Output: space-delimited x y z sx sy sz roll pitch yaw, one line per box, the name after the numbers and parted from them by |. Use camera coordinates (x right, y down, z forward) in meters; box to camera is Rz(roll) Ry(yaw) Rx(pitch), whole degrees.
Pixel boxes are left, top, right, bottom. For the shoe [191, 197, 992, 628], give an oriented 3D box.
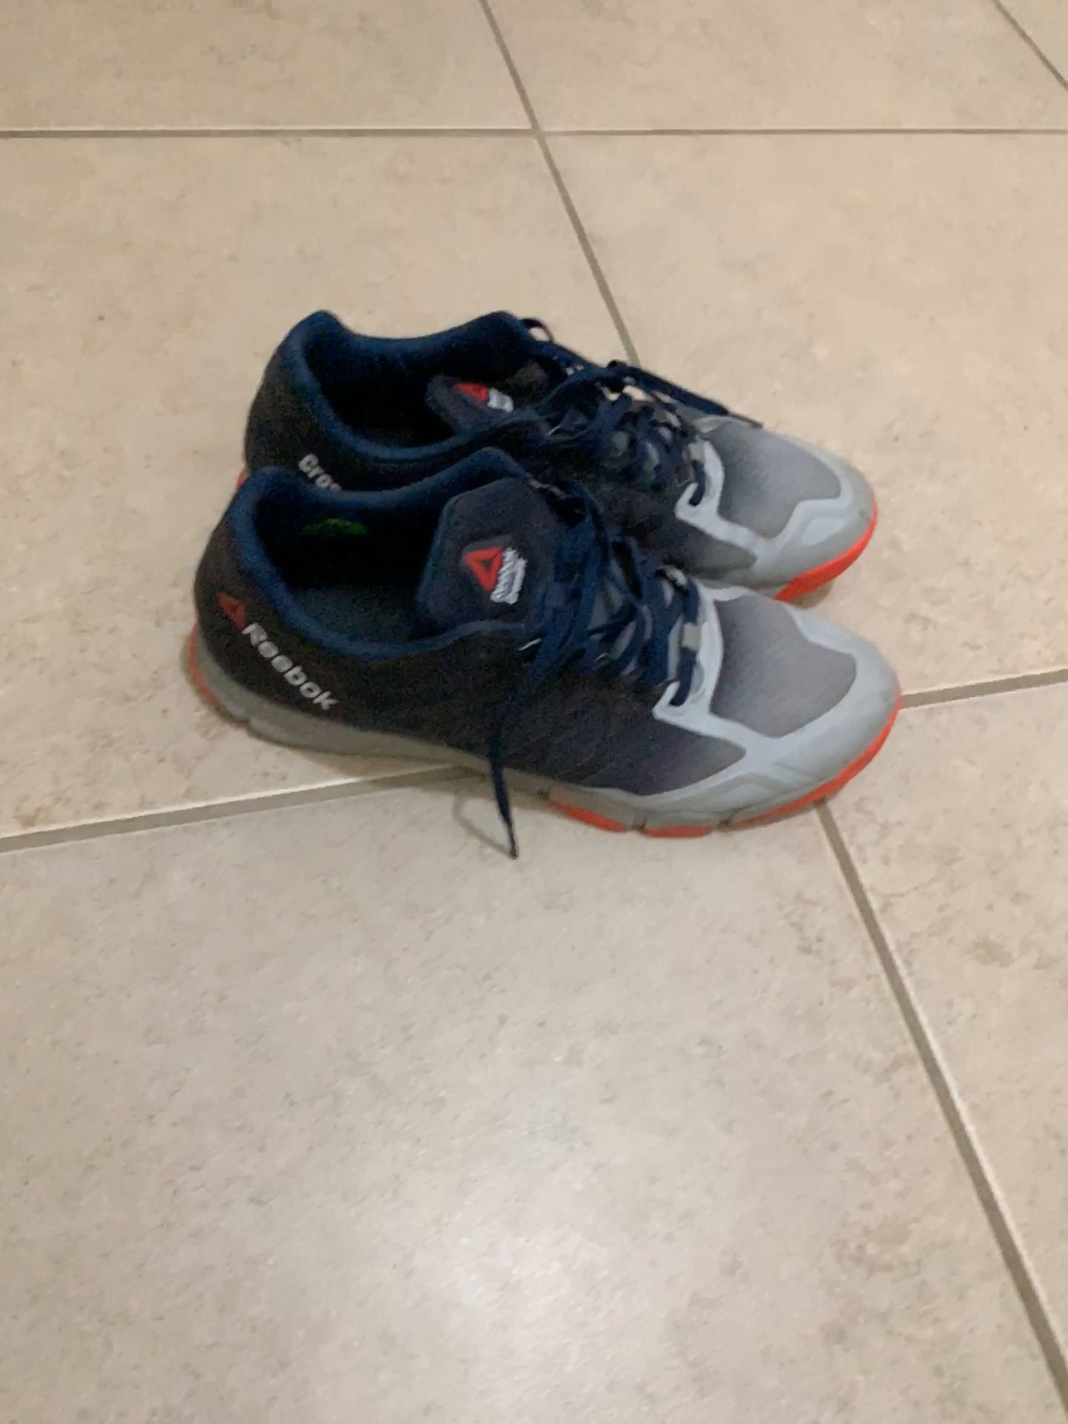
0.019 -0.124 0.490 0.304 0.121 0.105 3 58 -9 | shoe

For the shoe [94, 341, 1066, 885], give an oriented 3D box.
0.015 -0.029 0.436 0.314 0.133 0.109 9 57 -5 | shoe
